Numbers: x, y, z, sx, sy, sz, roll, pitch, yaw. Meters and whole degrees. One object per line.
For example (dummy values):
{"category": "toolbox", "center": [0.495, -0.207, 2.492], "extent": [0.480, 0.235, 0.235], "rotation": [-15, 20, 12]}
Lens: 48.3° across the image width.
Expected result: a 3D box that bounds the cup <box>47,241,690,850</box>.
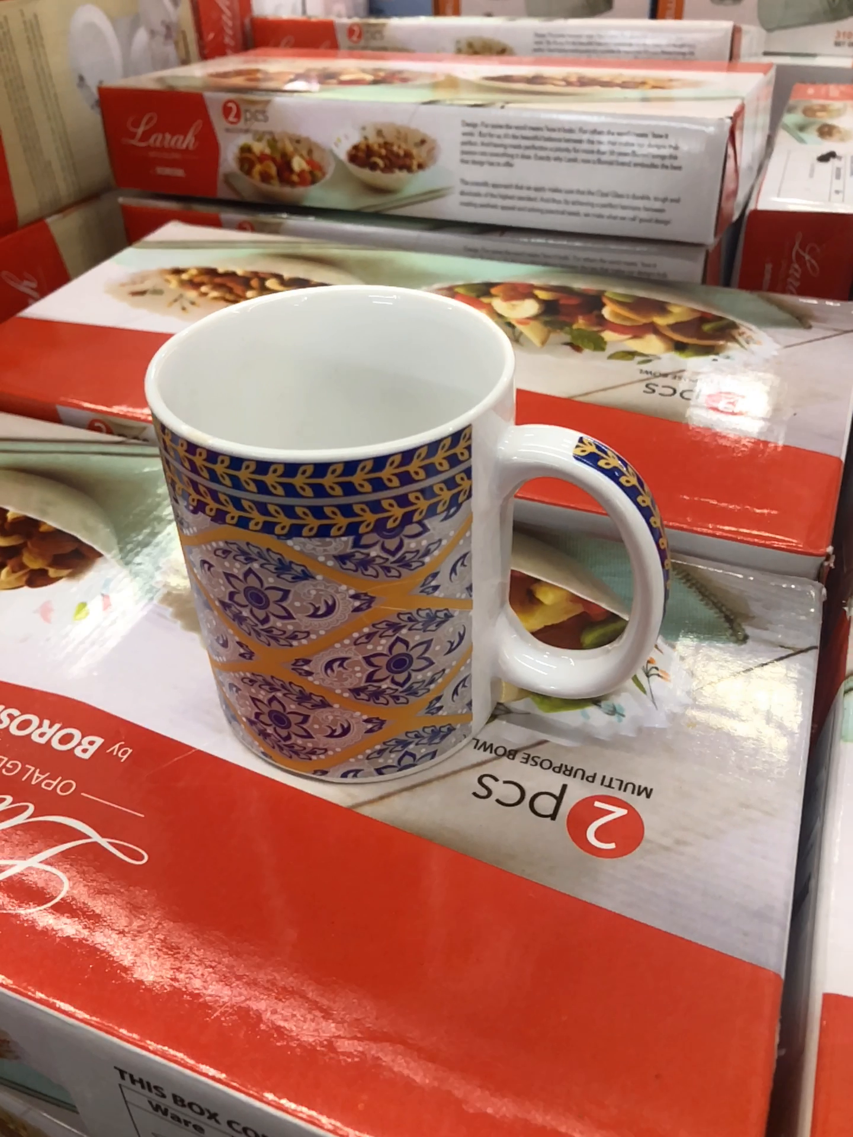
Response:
{"category": "cup", "center": [-0.004, -0.009, 0.219], "extent": [0.110, 0.099, 0.081], "rotation": [8, 38, 12]}
